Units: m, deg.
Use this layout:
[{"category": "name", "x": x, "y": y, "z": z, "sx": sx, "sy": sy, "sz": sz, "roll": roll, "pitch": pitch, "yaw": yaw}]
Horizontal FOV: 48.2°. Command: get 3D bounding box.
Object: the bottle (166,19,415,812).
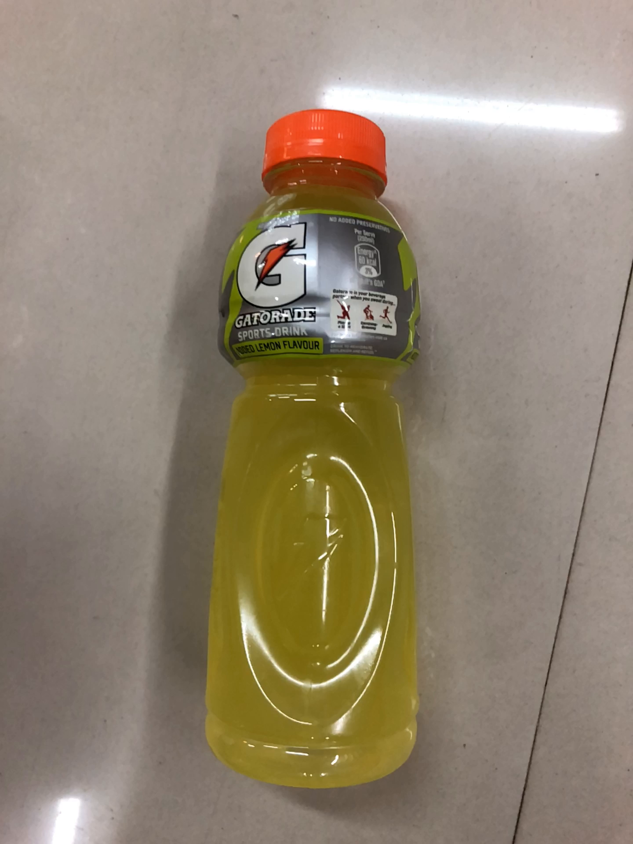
[{"category": "bottle", "x": -0.006, "y": -0.002, "z": 0.244, "sx": 0.070, "sy": 0.060, "sz": 0.230, "roll": 0, "pitch": 91, "yaw": 15}]
